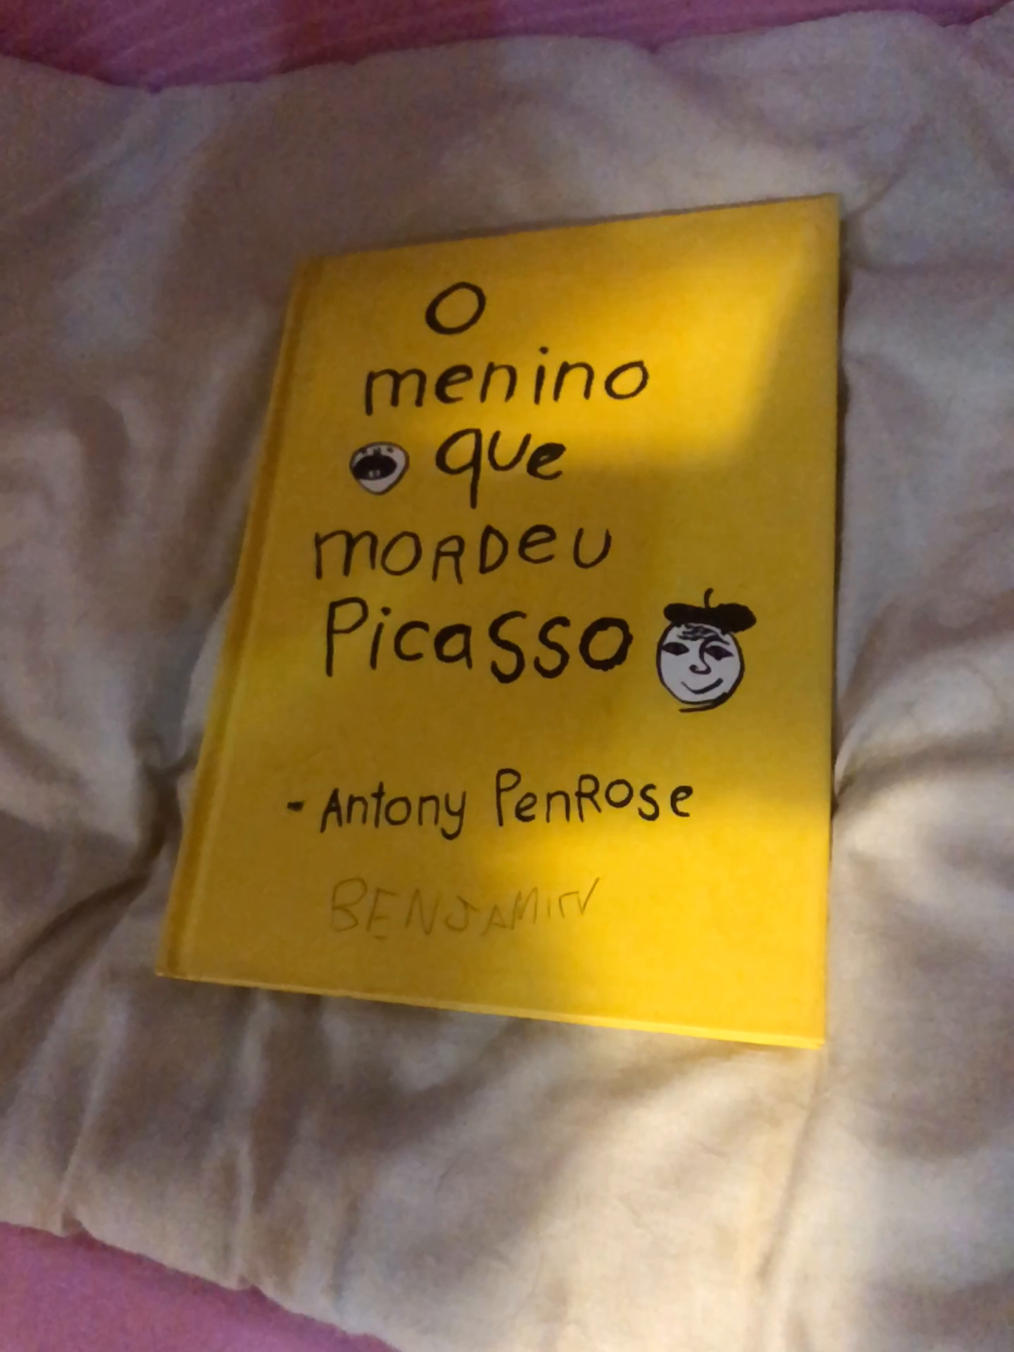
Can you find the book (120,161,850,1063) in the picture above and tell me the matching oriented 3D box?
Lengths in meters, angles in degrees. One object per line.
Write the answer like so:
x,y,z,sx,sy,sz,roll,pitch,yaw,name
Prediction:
0.000,-0.028,0.318,0.180,0.024,0.240,1,71,18,book
